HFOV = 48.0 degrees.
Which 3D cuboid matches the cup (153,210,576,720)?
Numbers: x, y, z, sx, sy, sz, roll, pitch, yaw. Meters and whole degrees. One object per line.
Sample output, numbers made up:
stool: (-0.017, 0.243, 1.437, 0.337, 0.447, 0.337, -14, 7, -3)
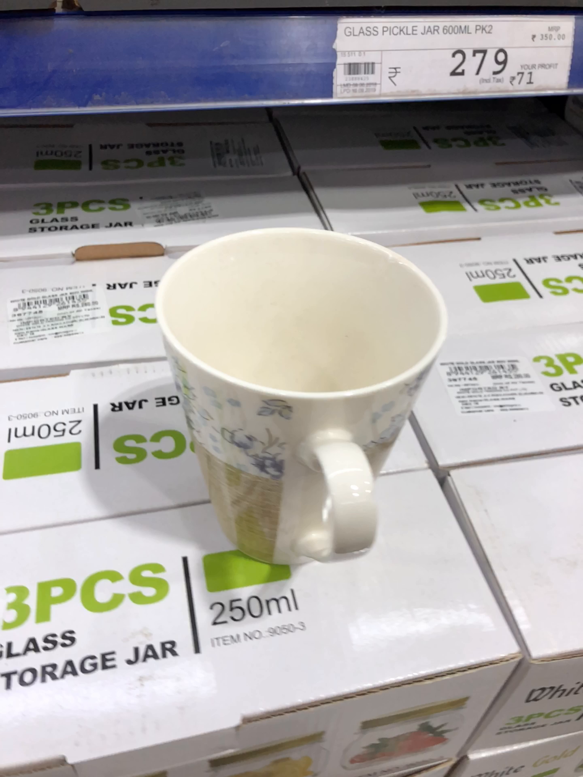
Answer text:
cup: (0.007, 0.020, 0.217, 0.090, 0.100, 0.131, -1, 45, -7)
